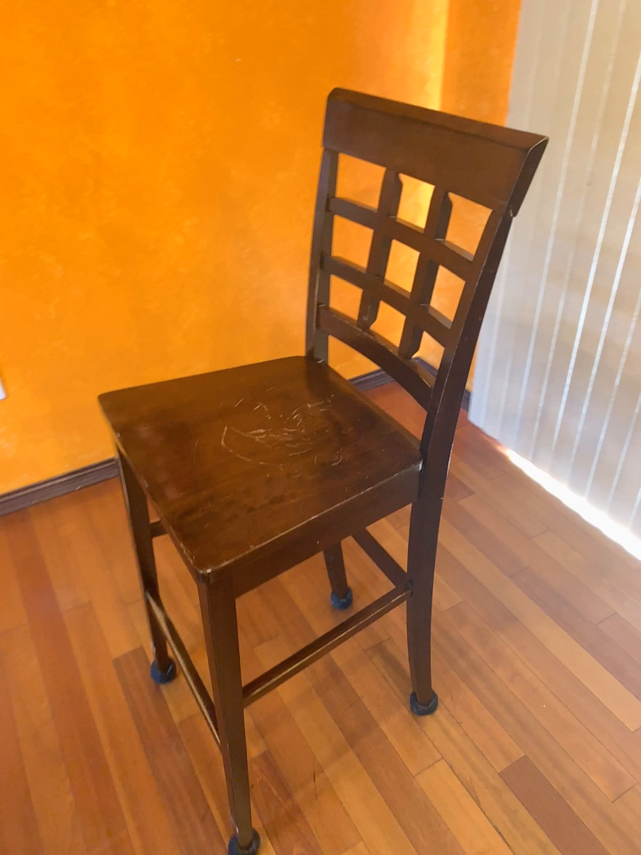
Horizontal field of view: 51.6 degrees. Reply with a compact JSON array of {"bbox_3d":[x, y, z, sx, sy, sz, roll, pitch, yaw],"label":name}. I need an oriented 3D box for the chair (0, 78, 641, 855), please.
[{"bbox_3d":[-0.063,0.073,1.005,0.586,0.986,0.541,-19,38,-24],"label":"chair"}]
